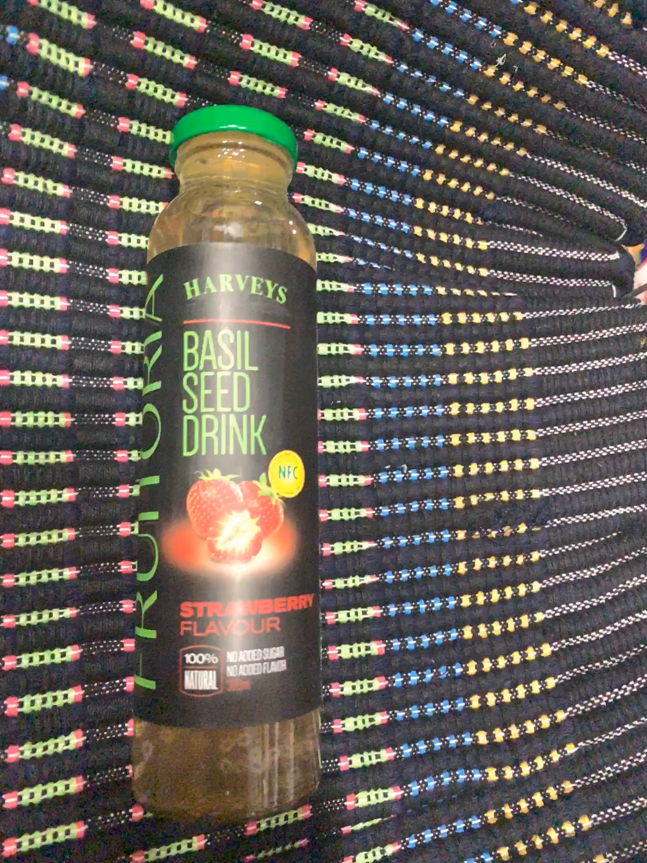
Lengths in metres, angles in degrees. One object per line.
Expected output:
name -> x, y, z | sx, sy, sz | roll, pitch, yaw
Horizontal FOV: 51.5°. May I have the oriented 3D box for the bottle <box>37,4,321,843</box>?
bottle -> -0.039, -0.007, 0.206 | 0.060, 0.060, 0.220 | -4, 80, 8
